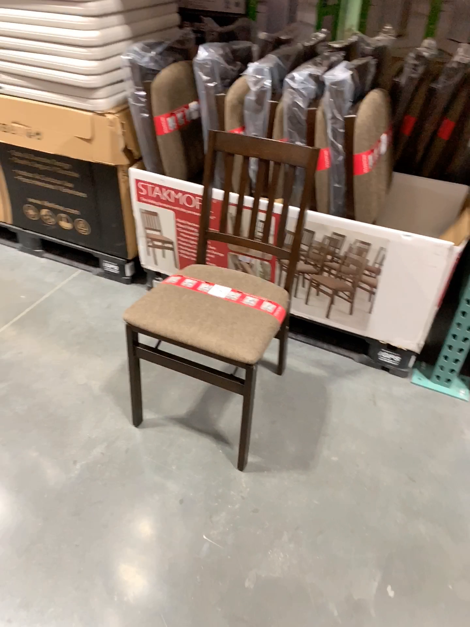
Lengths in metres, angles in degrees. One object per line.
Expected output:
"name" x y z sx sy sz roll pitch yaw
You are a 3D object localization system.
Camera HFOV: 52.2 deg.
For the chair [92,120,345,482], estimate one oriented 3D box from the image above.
"chair" -0.013 -0.041 1.450 0.421 0.837 0.574 17 41 18
